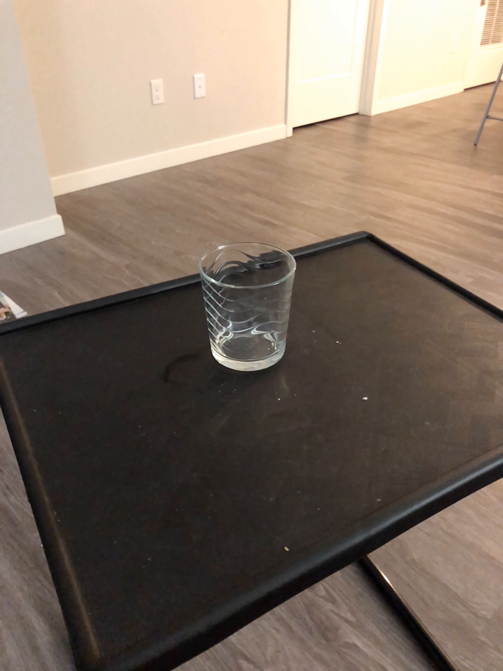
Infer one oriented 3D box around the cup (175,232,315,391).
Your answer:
[{"bbox_3d":[-0.006,-0.027,0.534,0.090,0.099,0.090,0,33,0],"label":"cup"}]
